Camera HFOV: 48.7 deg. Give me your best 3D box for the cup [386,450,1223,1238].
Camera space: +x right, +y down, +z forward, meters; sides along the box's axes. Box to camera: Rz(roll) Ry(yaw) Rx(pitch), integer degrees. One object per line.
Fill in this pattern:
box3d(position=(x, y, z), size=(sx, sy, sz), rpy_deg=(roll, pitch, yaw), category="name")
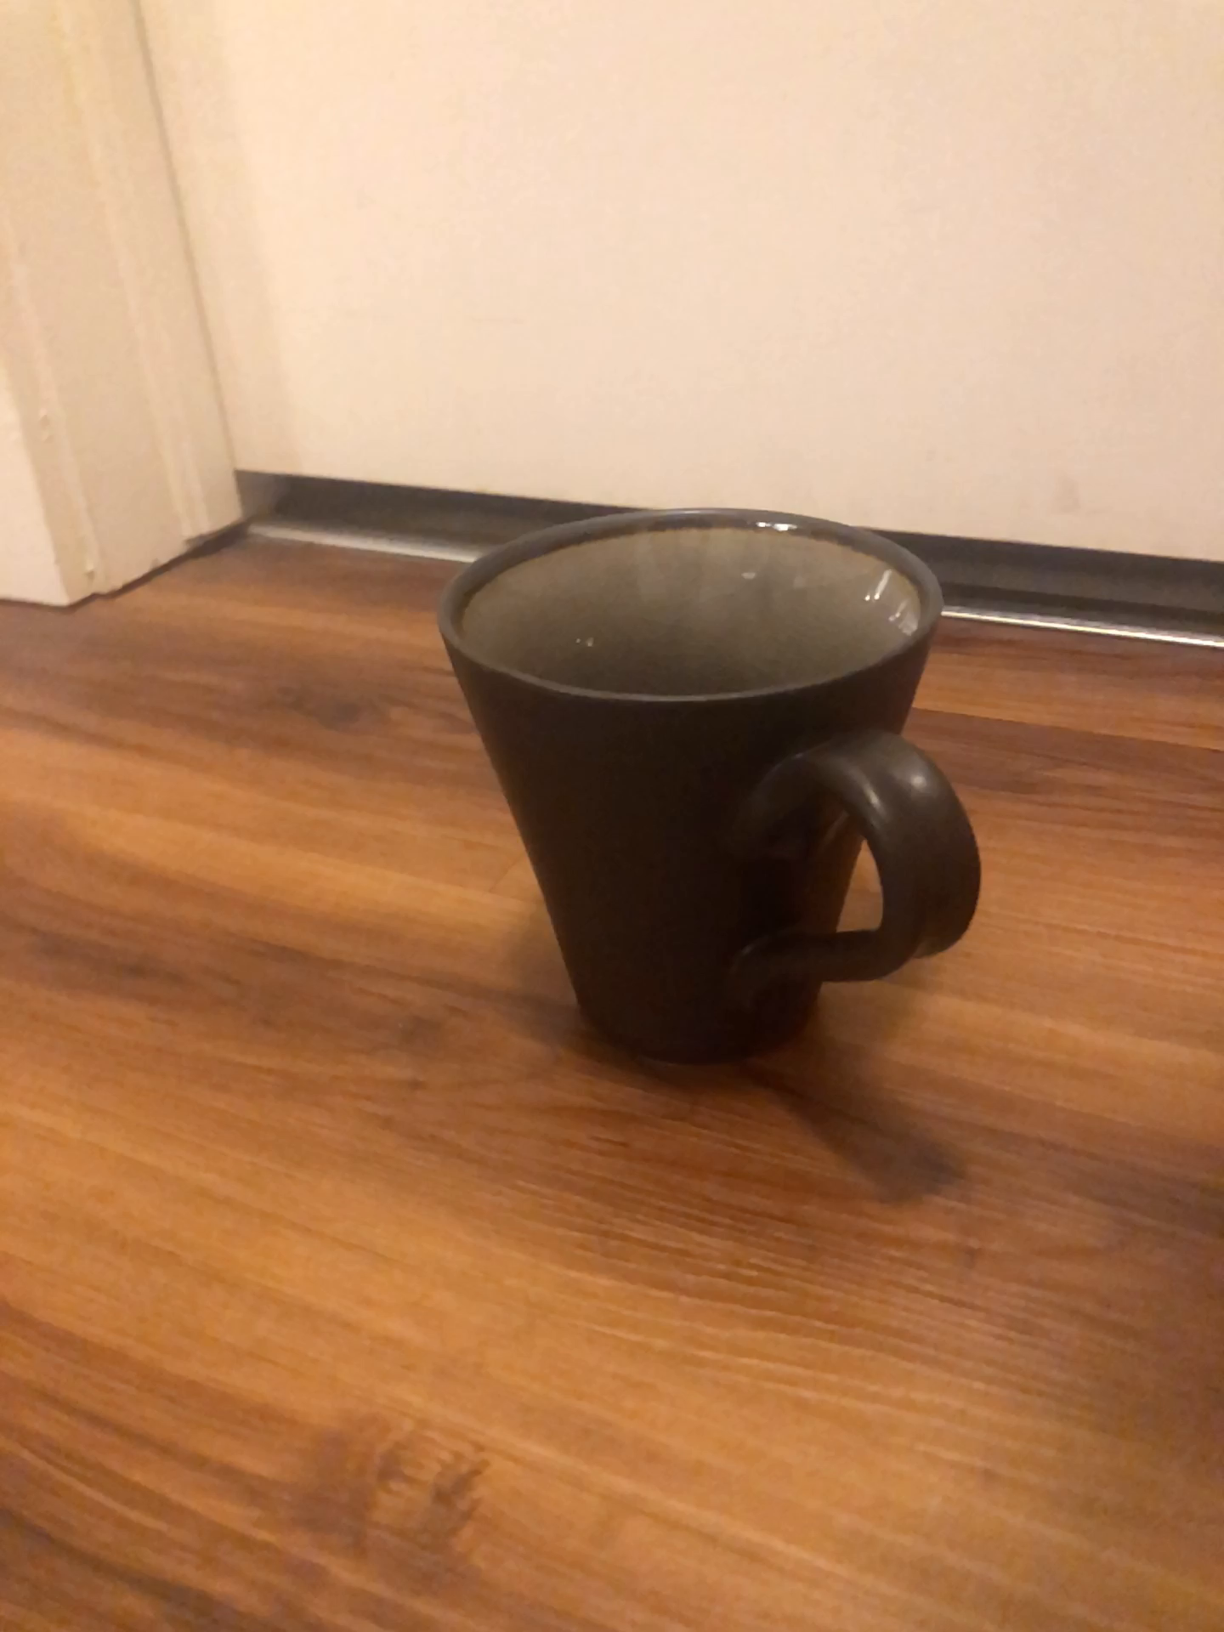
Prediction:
box3d(position=(0.033, -0.010, 0.319), size=(0.114, 0.100, 0.155), rpy_deg=(-17, 33, -22), category="cup")
